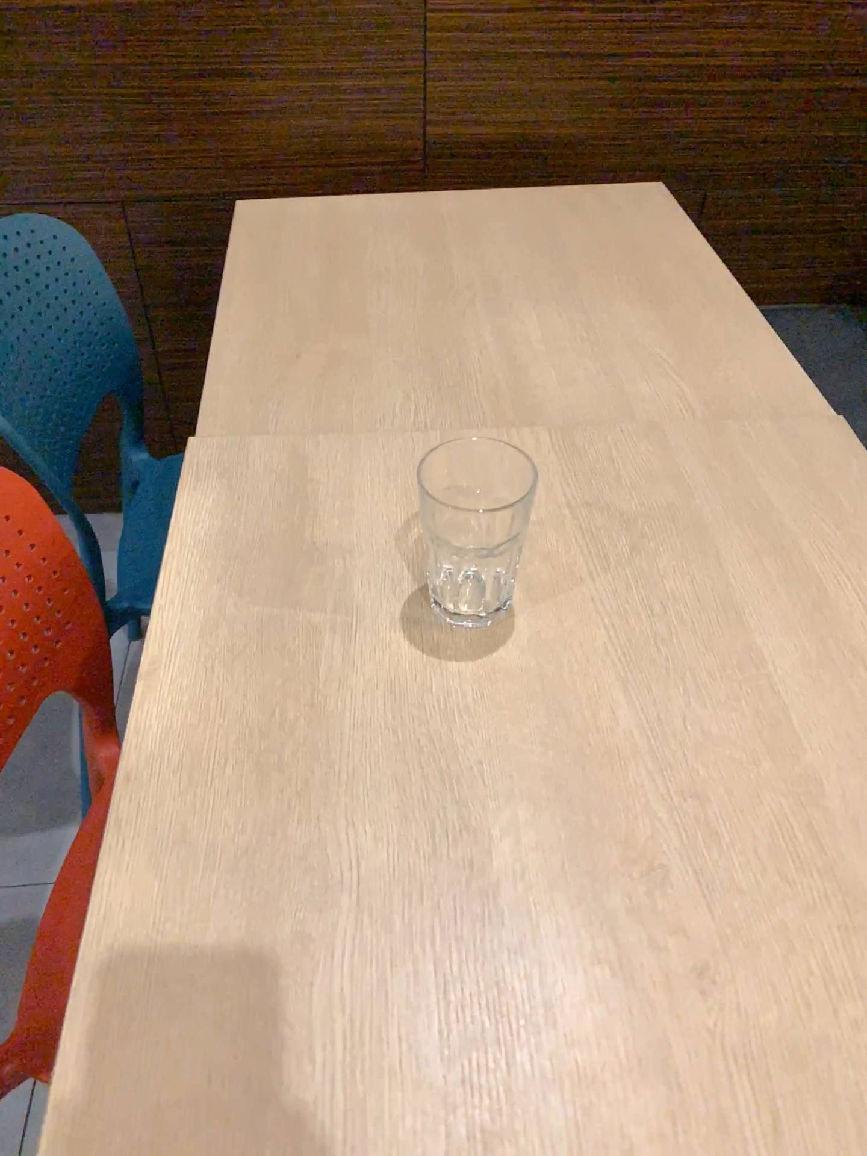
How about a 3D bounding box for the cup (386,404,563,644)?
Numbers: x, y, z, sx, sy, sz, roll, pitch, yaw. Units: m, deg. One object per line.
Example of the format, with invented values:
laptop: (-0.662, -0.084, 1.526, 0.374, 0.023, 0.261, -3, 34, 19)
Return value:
cup: (0.025, -0.037, 0.605, 0.080, 0.119, 0.080, 1, 43, -1)
